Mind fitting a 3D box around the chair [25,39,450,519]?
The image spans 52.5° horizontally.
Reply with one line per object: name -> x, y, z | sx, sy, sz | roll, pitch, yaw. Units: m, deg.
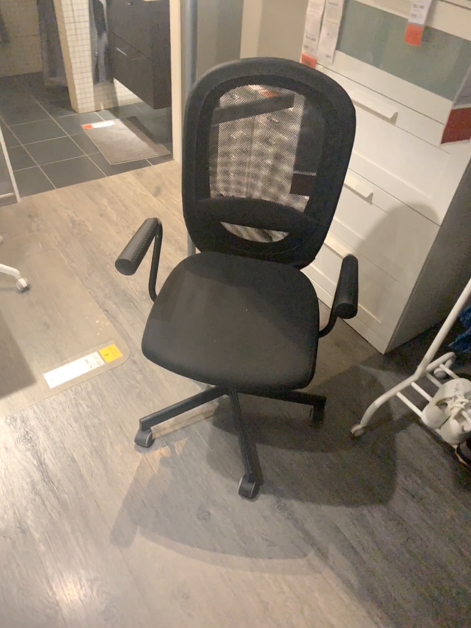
chair -> 0.027, -0.061, 1.285 | 0.640, 0.976, 0.683 | 11, 45, 6
